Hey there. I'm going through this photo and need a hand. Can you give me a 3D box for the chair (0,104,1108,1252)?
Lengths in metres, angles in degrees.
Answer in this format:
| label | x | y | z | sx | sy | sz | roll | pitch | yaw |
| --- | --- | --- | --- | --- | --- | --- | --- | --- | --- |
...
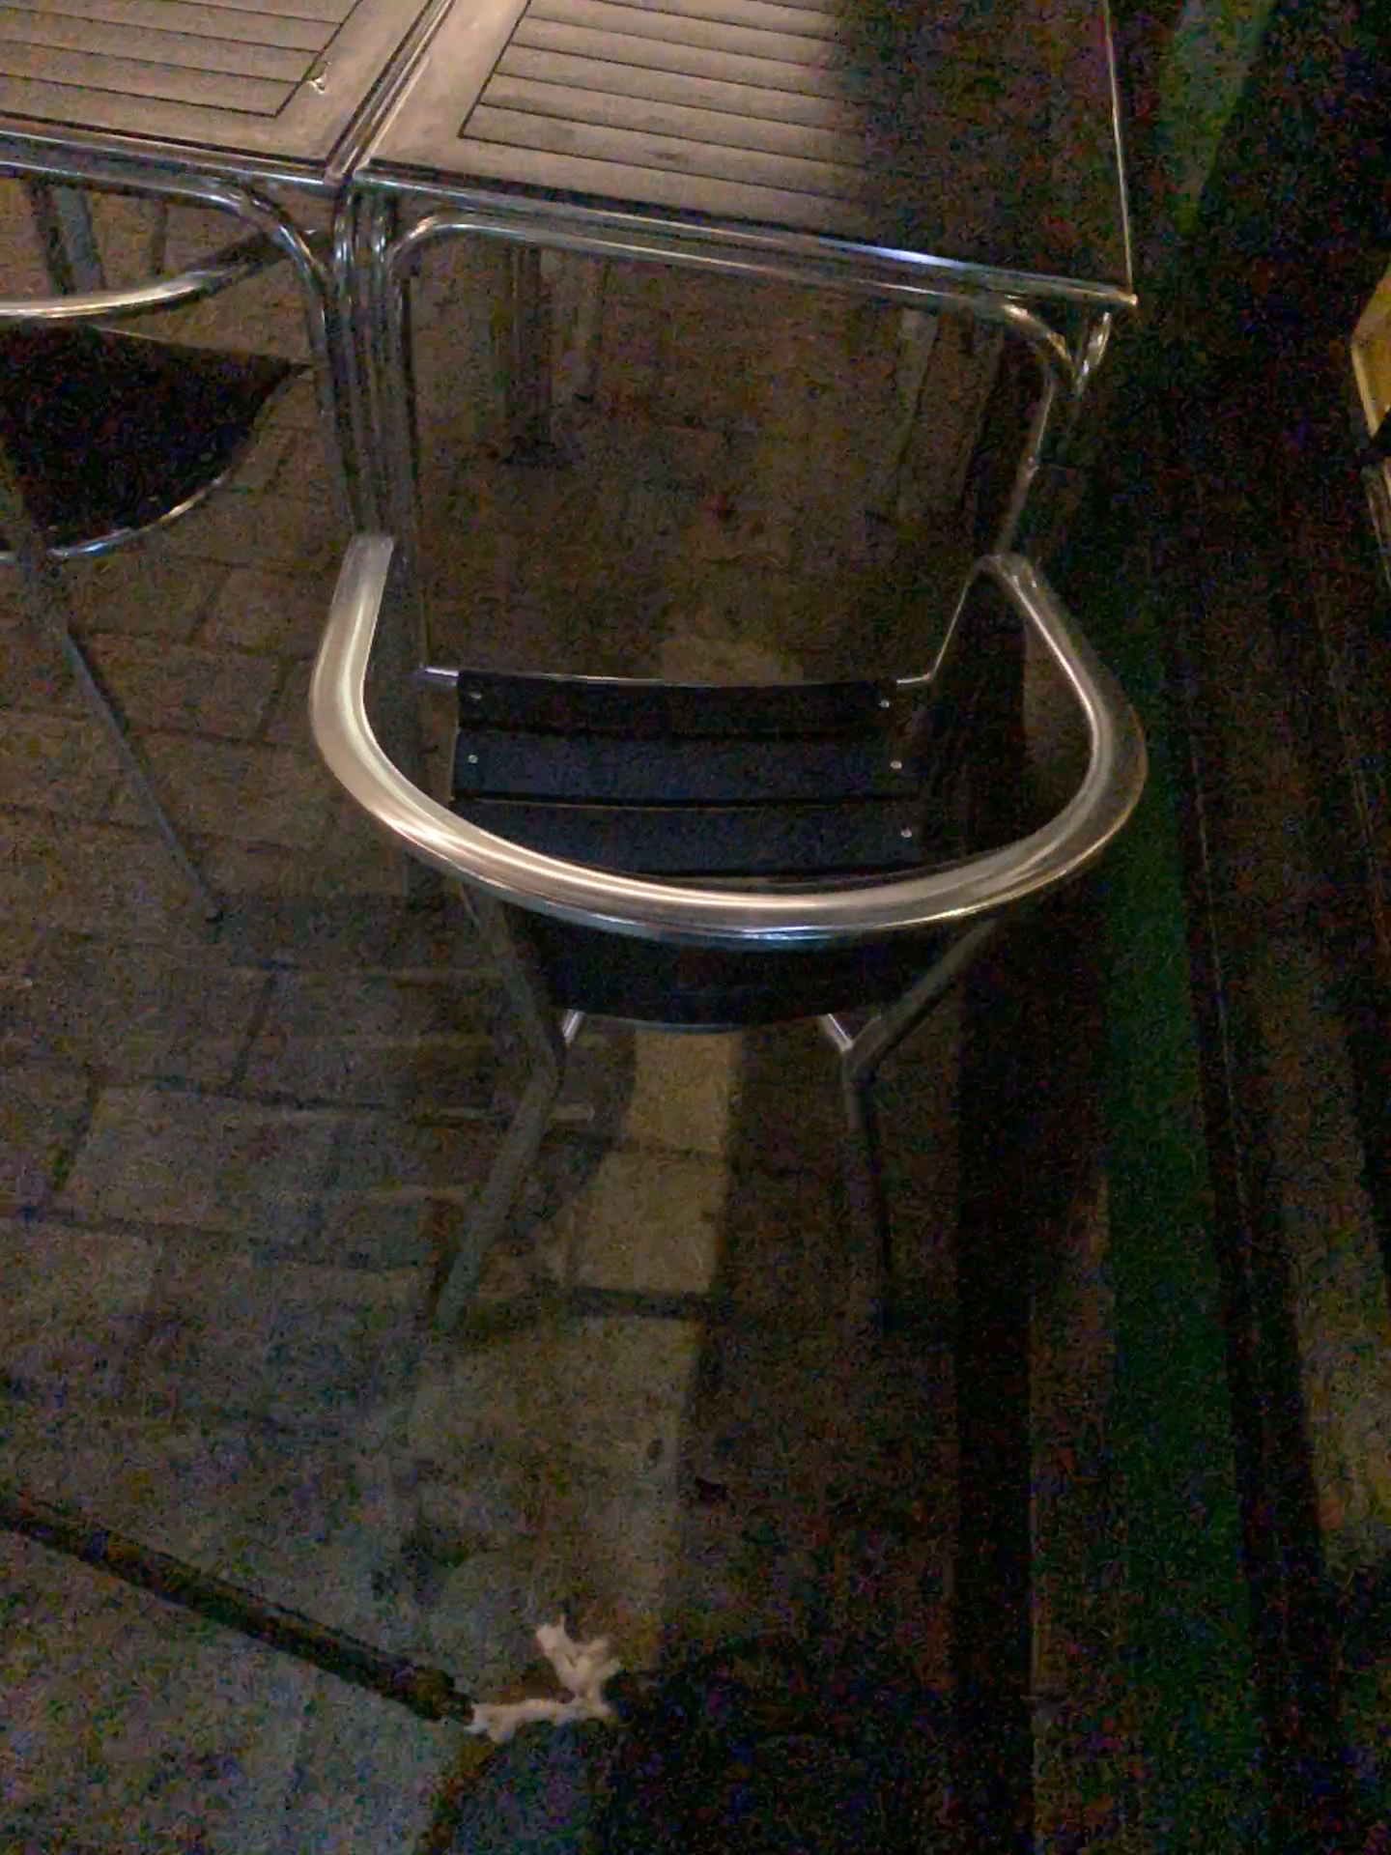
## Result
| label | x | y | z | sx | sy | sz | roll | pitch | yaw |
| --- | --- | --- | --- | --- | --- | --- | --- | --- | --- |
| chair | -0.142 | -0.177 | 1.316 | 0.660 | 0.783 | 0.655 | 0 | 53 | -7 |
